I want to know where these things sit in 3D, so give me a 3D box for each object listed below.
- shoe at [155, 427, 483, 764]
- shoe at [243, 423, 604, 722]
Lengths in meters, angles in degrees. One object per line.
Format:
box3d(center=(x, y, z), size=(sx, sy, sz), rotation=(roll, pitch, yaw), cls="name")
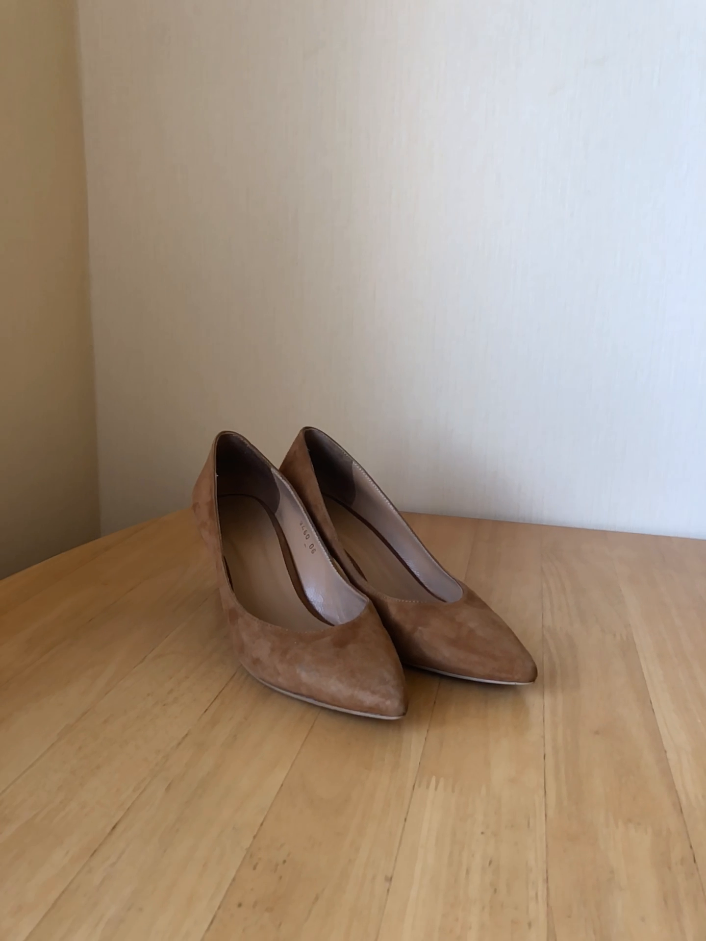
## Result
box3d(center=(-0.039, 0.052, 0.480), size=(0.089, 0.110, 0.250), rotation=(-7, 16, -30), cls="shoe")
box3d(center=(0.027, 0.047, 0.527), size=(0.089, 0.110, 0.260), rotation=(-8, 17, -35), cls="shoe")
